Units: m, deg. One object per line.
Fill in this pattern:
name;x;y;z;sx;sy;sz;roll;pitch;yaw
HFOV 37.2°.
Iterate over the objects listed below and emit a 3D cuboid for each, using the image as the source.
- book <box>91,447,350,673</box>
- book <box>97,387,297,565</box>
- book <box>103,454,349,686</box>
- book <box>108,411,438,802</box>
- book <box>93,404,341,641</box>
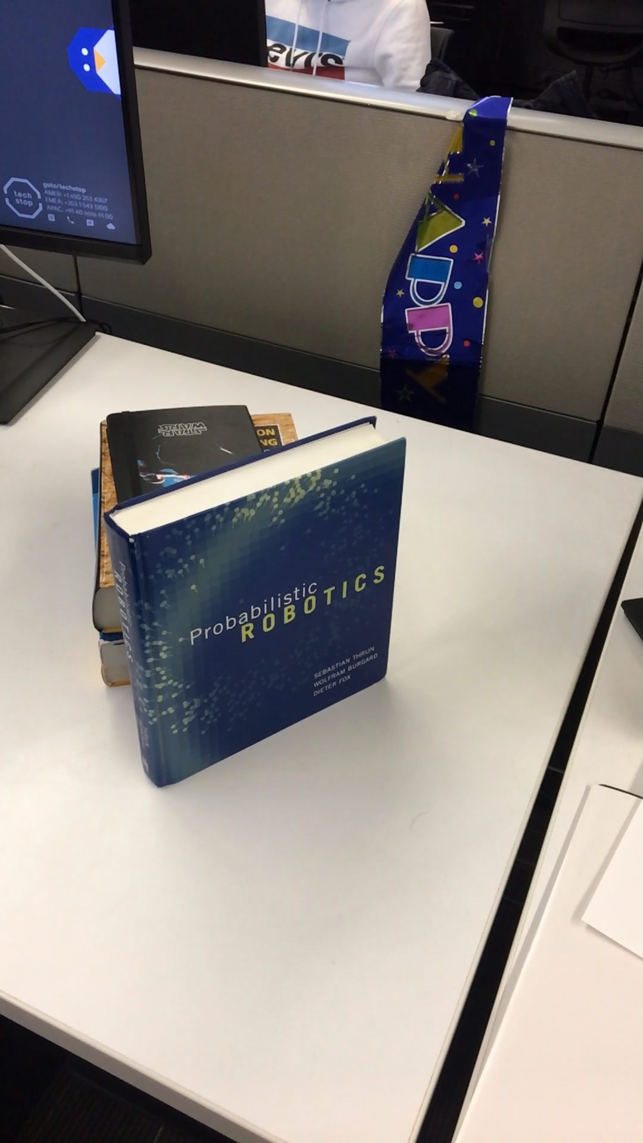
book;-0.097;-0.021;0.824;0.190;0.030;0.240;-6;41;-11
book;-0.107;-0.085;0.774;0.130;0.020;0.200;-8;42;-13
book;-0.095;-0.014;0.847;0.190;0.030;0.260;-5;41;-9
book;-0.029;0.027;0.665;0.210;0.230;0.050;-23;47;-27
book;-0.095;-0.052;0.798;0.180;0.050;0.240;-5;41;-9
